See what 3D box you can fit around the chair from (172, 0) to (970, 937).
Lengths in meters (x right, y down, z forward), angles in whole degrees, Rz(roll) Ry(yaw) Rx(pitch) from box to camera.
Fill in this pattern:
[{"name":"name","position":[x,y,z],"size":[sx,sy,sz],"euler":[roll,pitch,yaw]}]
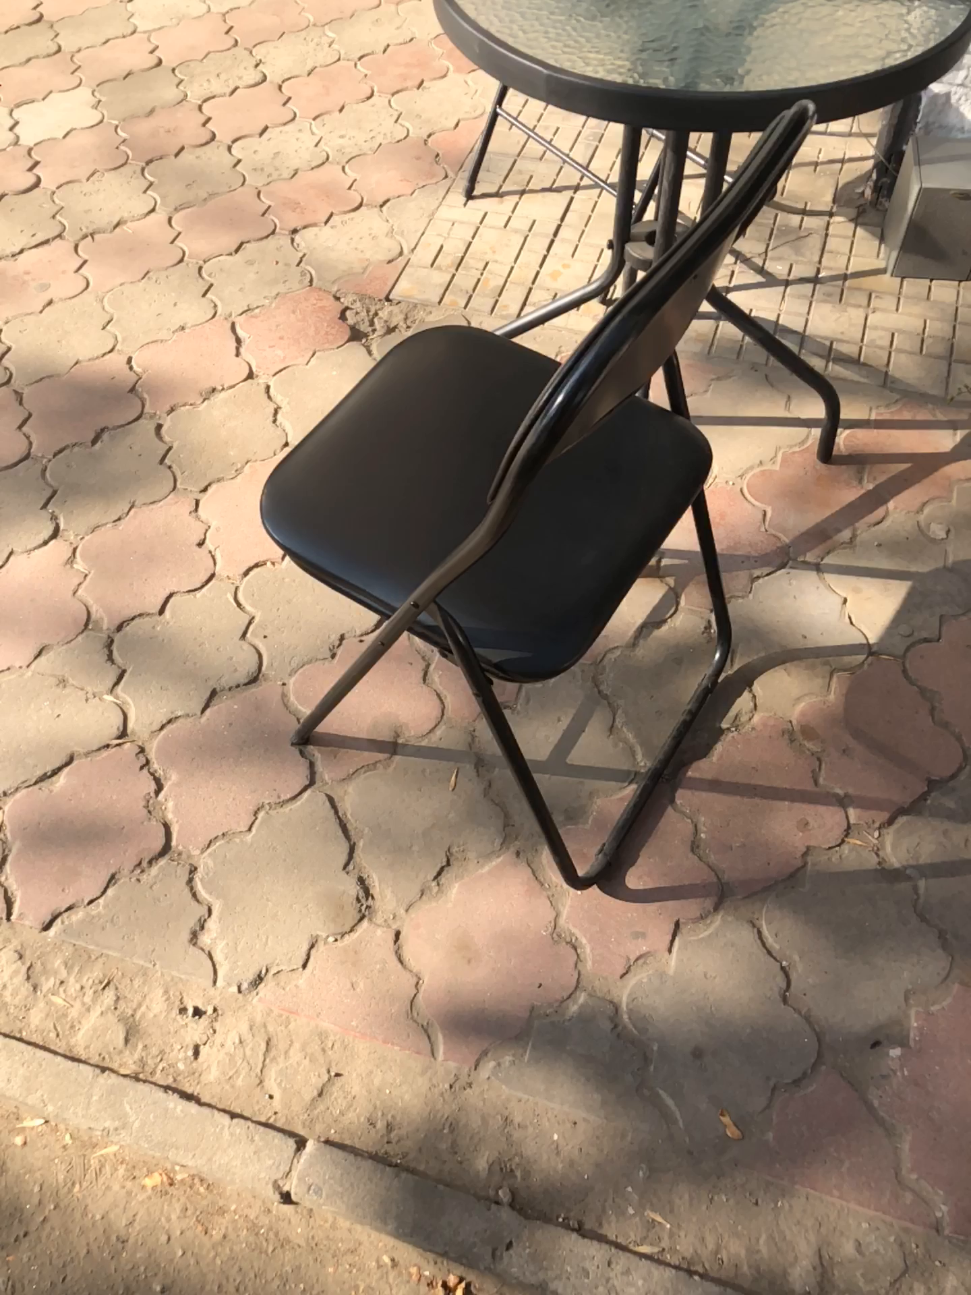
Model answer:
[{"name":"chair","position":[0.123,-0.212,1.273],"size":[0.570,0.838,0.581],"euler":[27,54,19]}]
